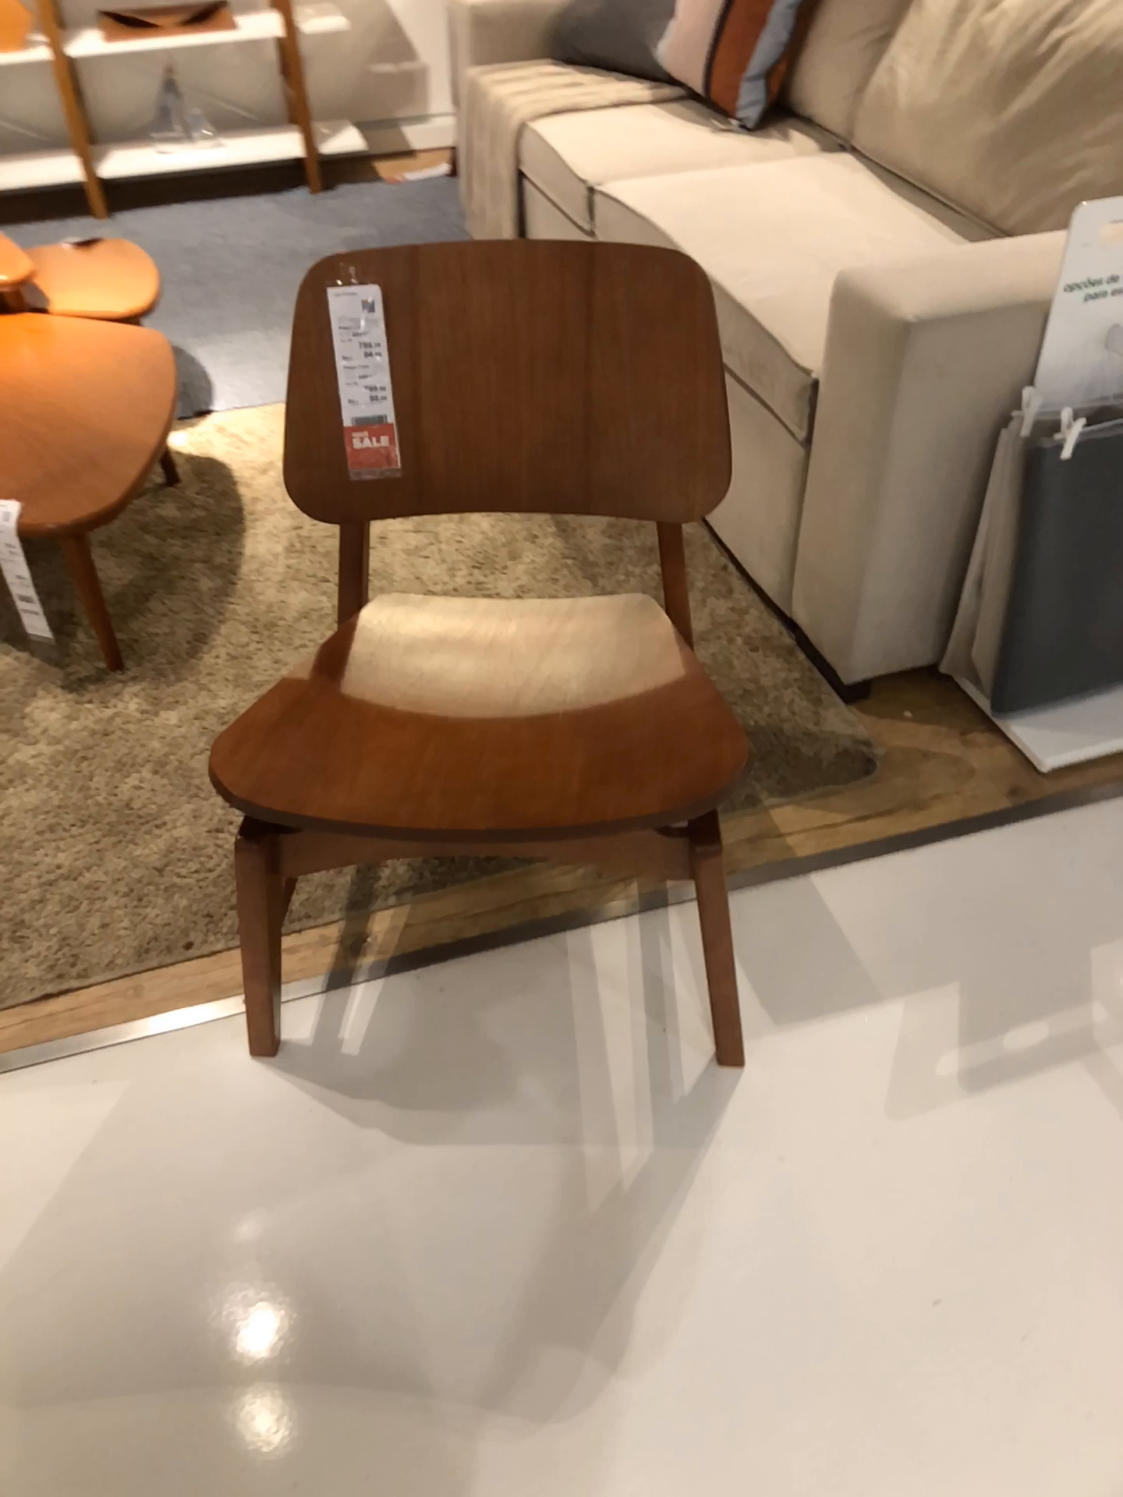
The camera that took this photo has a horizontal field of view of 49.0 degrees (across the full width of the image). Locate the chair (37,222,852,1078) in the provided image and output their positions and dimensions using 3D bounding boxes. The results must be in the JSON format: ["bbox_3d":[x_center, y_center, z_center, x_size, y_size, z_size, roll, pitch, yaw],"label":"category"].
[{"bbox_3d":[-0.061,-0.118,1.322,0.580,0.654,0.635,1,40,4],"label":"chair"}]
